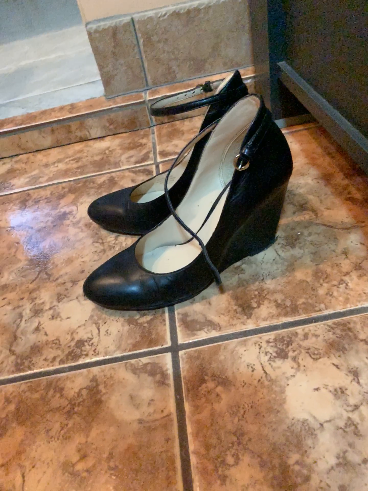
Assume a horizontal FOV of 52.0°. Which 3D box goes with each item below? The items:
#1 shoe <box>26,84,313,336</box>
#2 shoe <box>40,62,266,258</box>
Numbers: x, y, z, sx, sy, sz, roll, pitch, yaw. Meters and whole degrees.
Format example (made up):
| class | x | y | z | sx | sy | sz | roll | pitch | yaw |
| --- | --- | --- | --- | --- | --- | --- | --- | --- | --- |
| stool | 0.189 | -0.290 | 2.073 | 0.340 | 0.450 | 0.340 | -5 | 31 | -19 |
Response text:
| class | x | y | z | sx | sy | sz | roll | pitch | yaw |
| --- | --- | --- | --- | --- | --- | --- | --- | --- | --- |
| shoe | -0.006 | -0.031 | 0.337 | 0.209 | 0.140 | 0.087 | -20 | 41 | -7 |
| shoe | -0.021 | -0.086 | 0.416 | 0.200 | 0.159 | 0.079 | -9 | 41 | 5 |
